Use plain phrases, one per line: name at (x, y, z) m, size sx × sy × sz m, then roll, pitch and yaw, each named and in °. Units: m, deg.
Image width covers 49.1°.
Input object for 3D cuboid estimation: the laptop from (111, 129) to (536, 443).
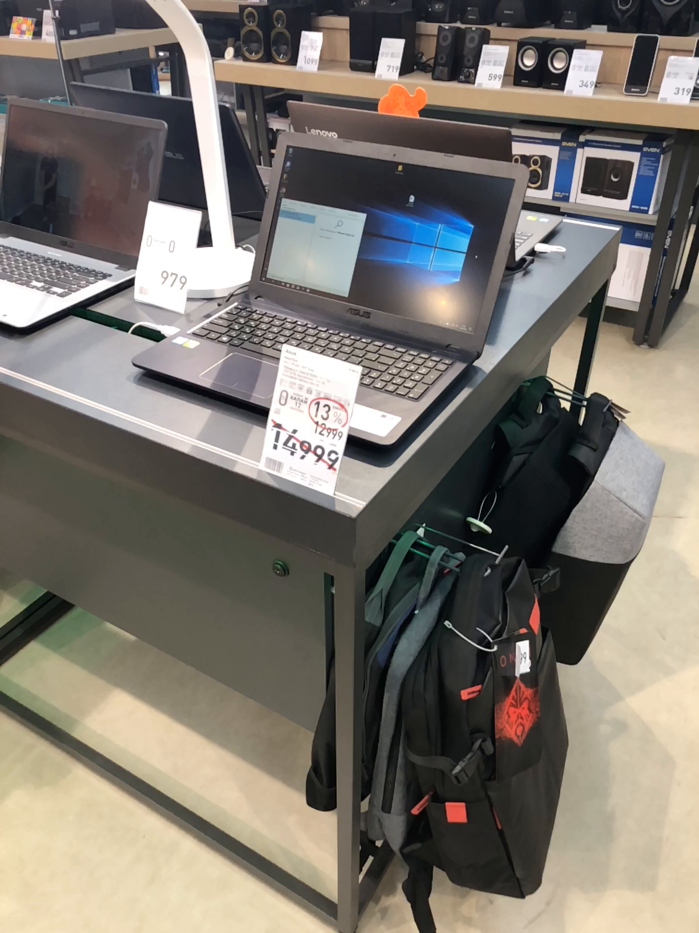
laptop at (-0.019, -0.263, 0.986) m, size 0.380 × 0.209 × 0.371 m, roll 18°, pitch 40°, yaw 25°
